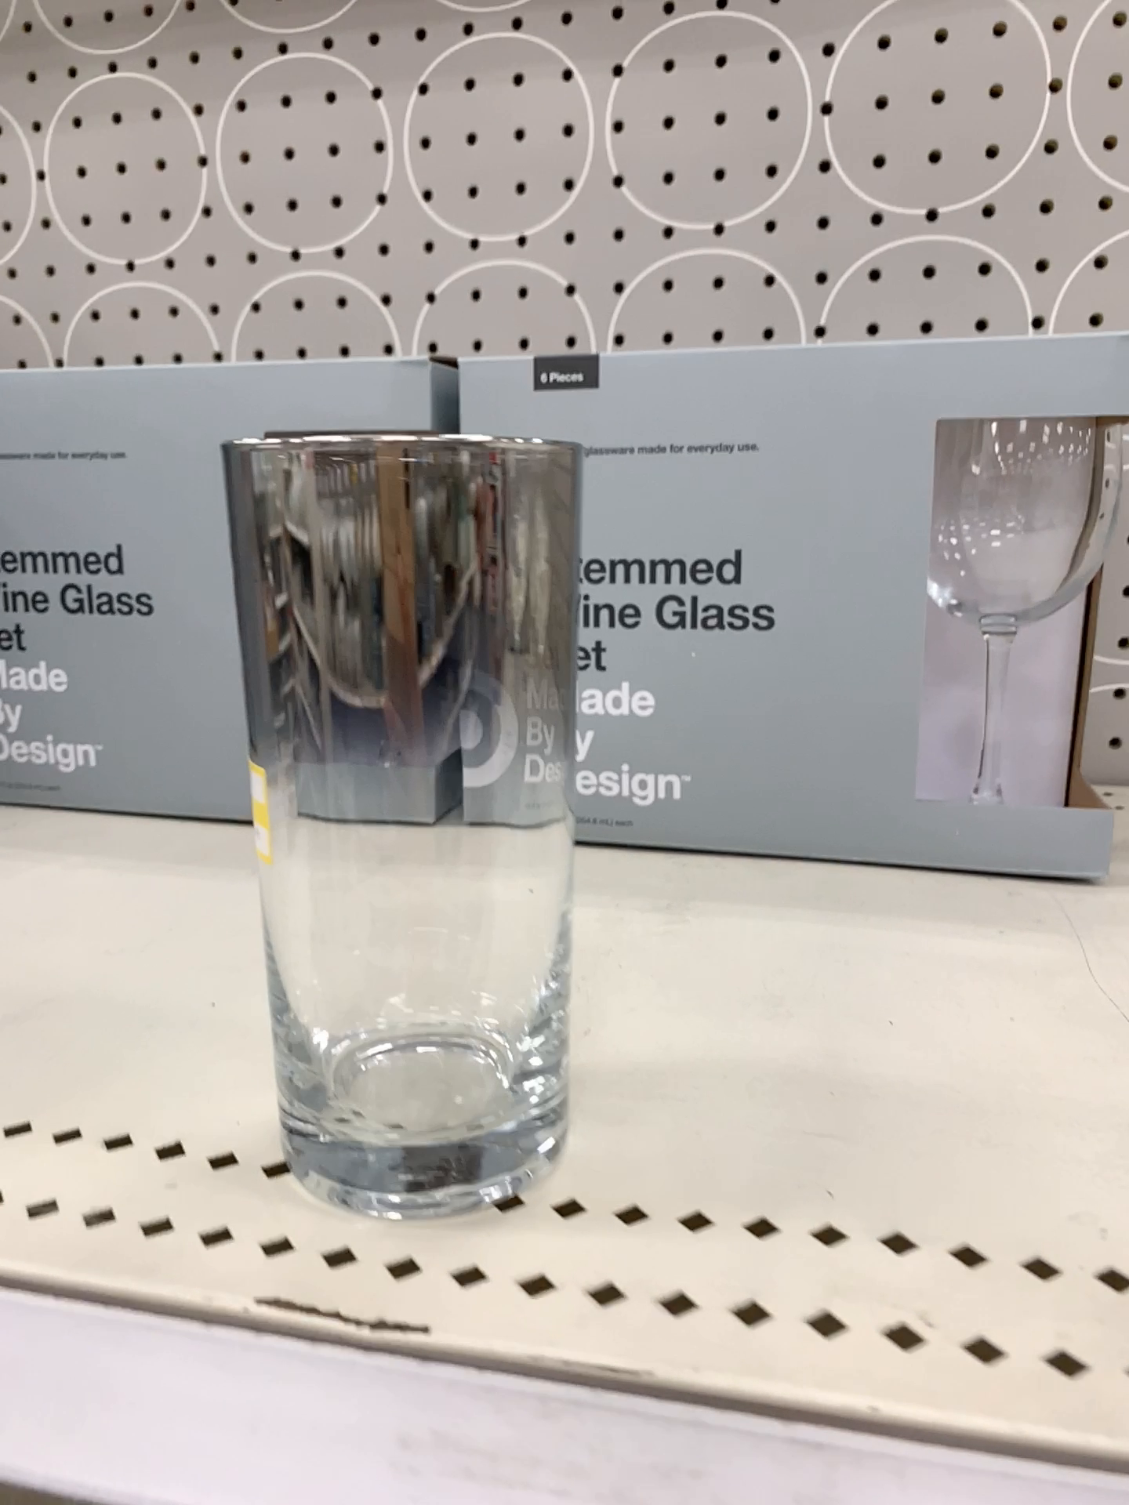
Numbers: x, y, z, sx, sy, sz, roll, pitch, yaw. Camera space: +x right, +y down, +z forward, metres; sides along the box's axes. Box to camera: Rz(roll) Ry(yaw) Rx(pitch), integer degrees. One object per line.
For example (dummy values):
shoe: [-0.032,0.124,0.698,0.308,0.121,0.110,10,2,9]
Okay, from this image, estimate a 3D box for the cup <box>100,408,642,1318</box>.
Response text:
cup: [-0.034,0.013,0.230,0.080,0.150,0.080,-1,13,0]
